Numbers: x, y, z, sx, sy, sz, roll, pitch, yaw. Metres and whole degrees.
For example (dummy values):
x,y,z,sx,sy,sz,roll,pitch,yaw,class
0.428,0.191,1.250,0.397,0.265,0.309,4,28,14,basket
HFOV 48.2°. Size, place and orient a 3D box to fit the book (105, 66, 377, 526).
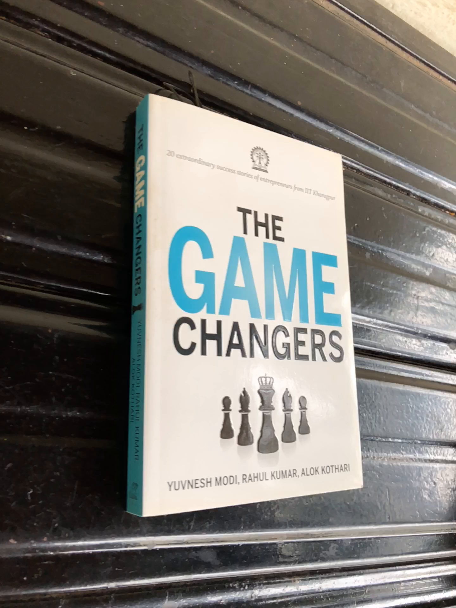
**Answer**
x,y,z,sx,sy,sz,roll,pitch,yaw,class
0.010,-0.004,0.274,0.141,0.030,0.210,6,76,-30,book
